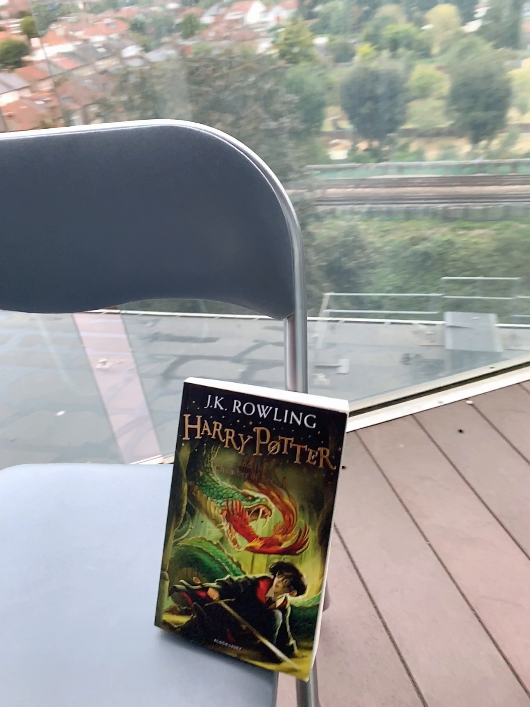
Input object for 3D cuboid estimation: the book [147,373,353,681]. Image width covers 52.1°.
[{"bbox_3d":[-0.015,0.125,0.419,0.140,0.200,0.040,7,7,20],"label":"book"}]
